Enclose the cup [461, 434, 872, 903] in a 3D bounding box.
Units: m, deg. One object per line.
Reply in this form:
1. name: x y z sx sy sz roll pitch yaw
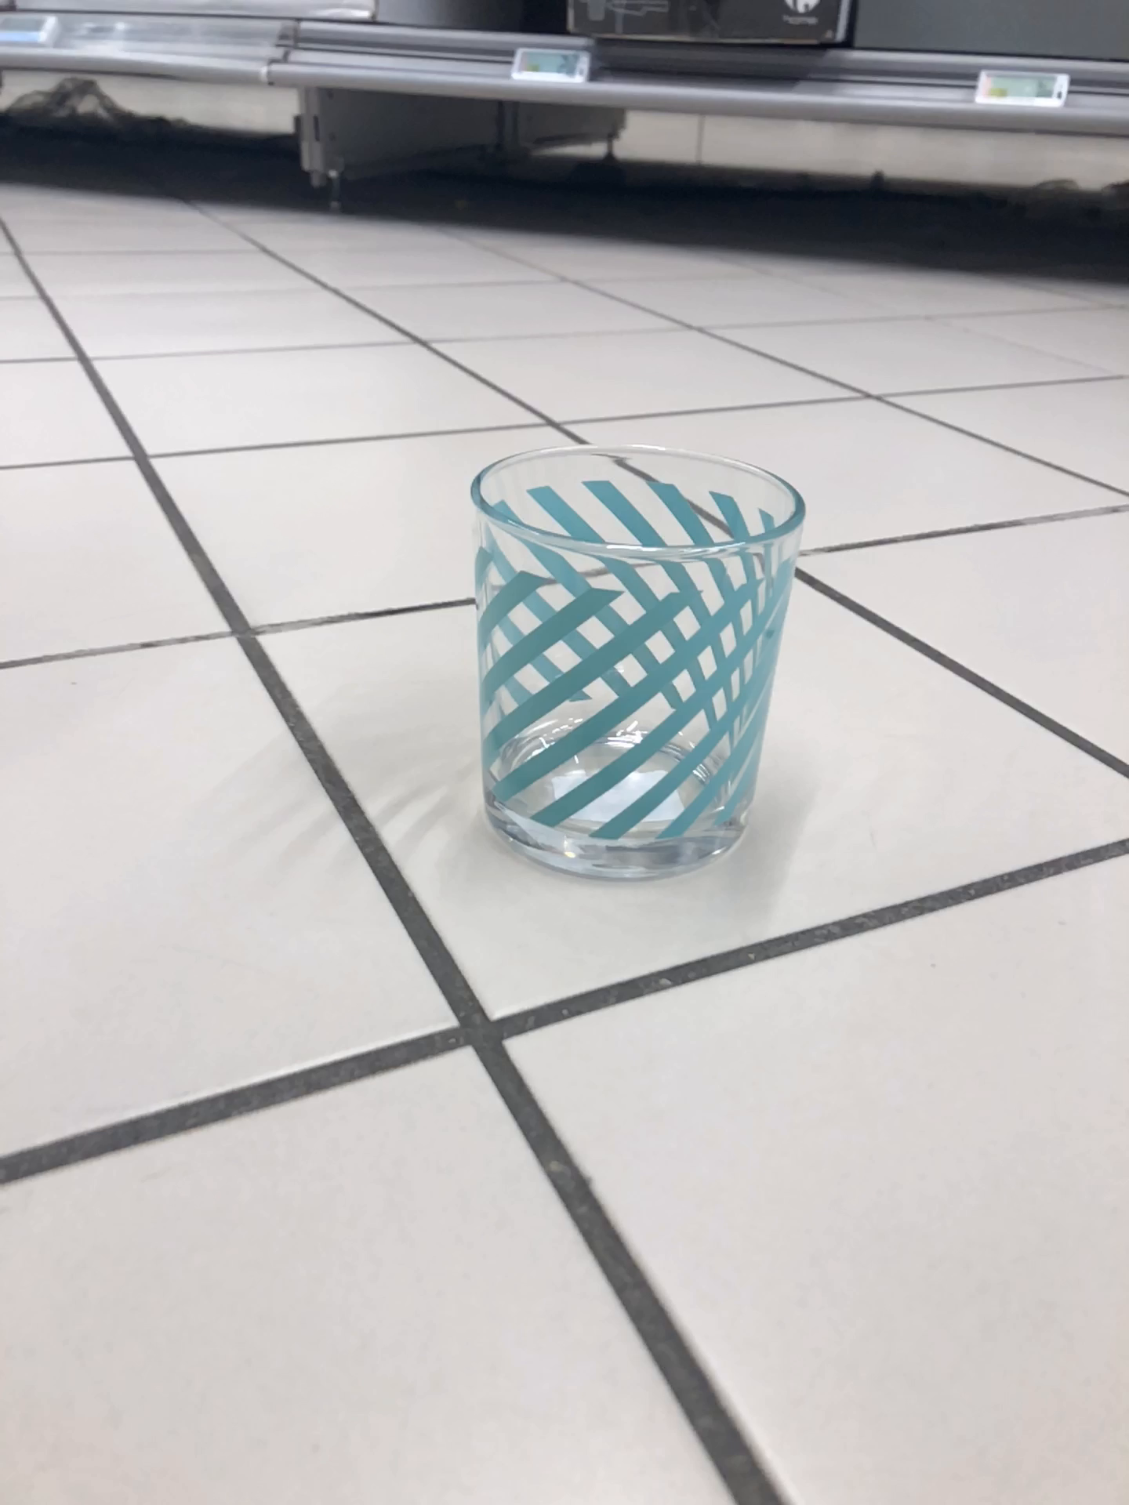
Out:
1. cup: 0.016 -0.023 0.290 0.075 0.080 0.080 2 29 -1
